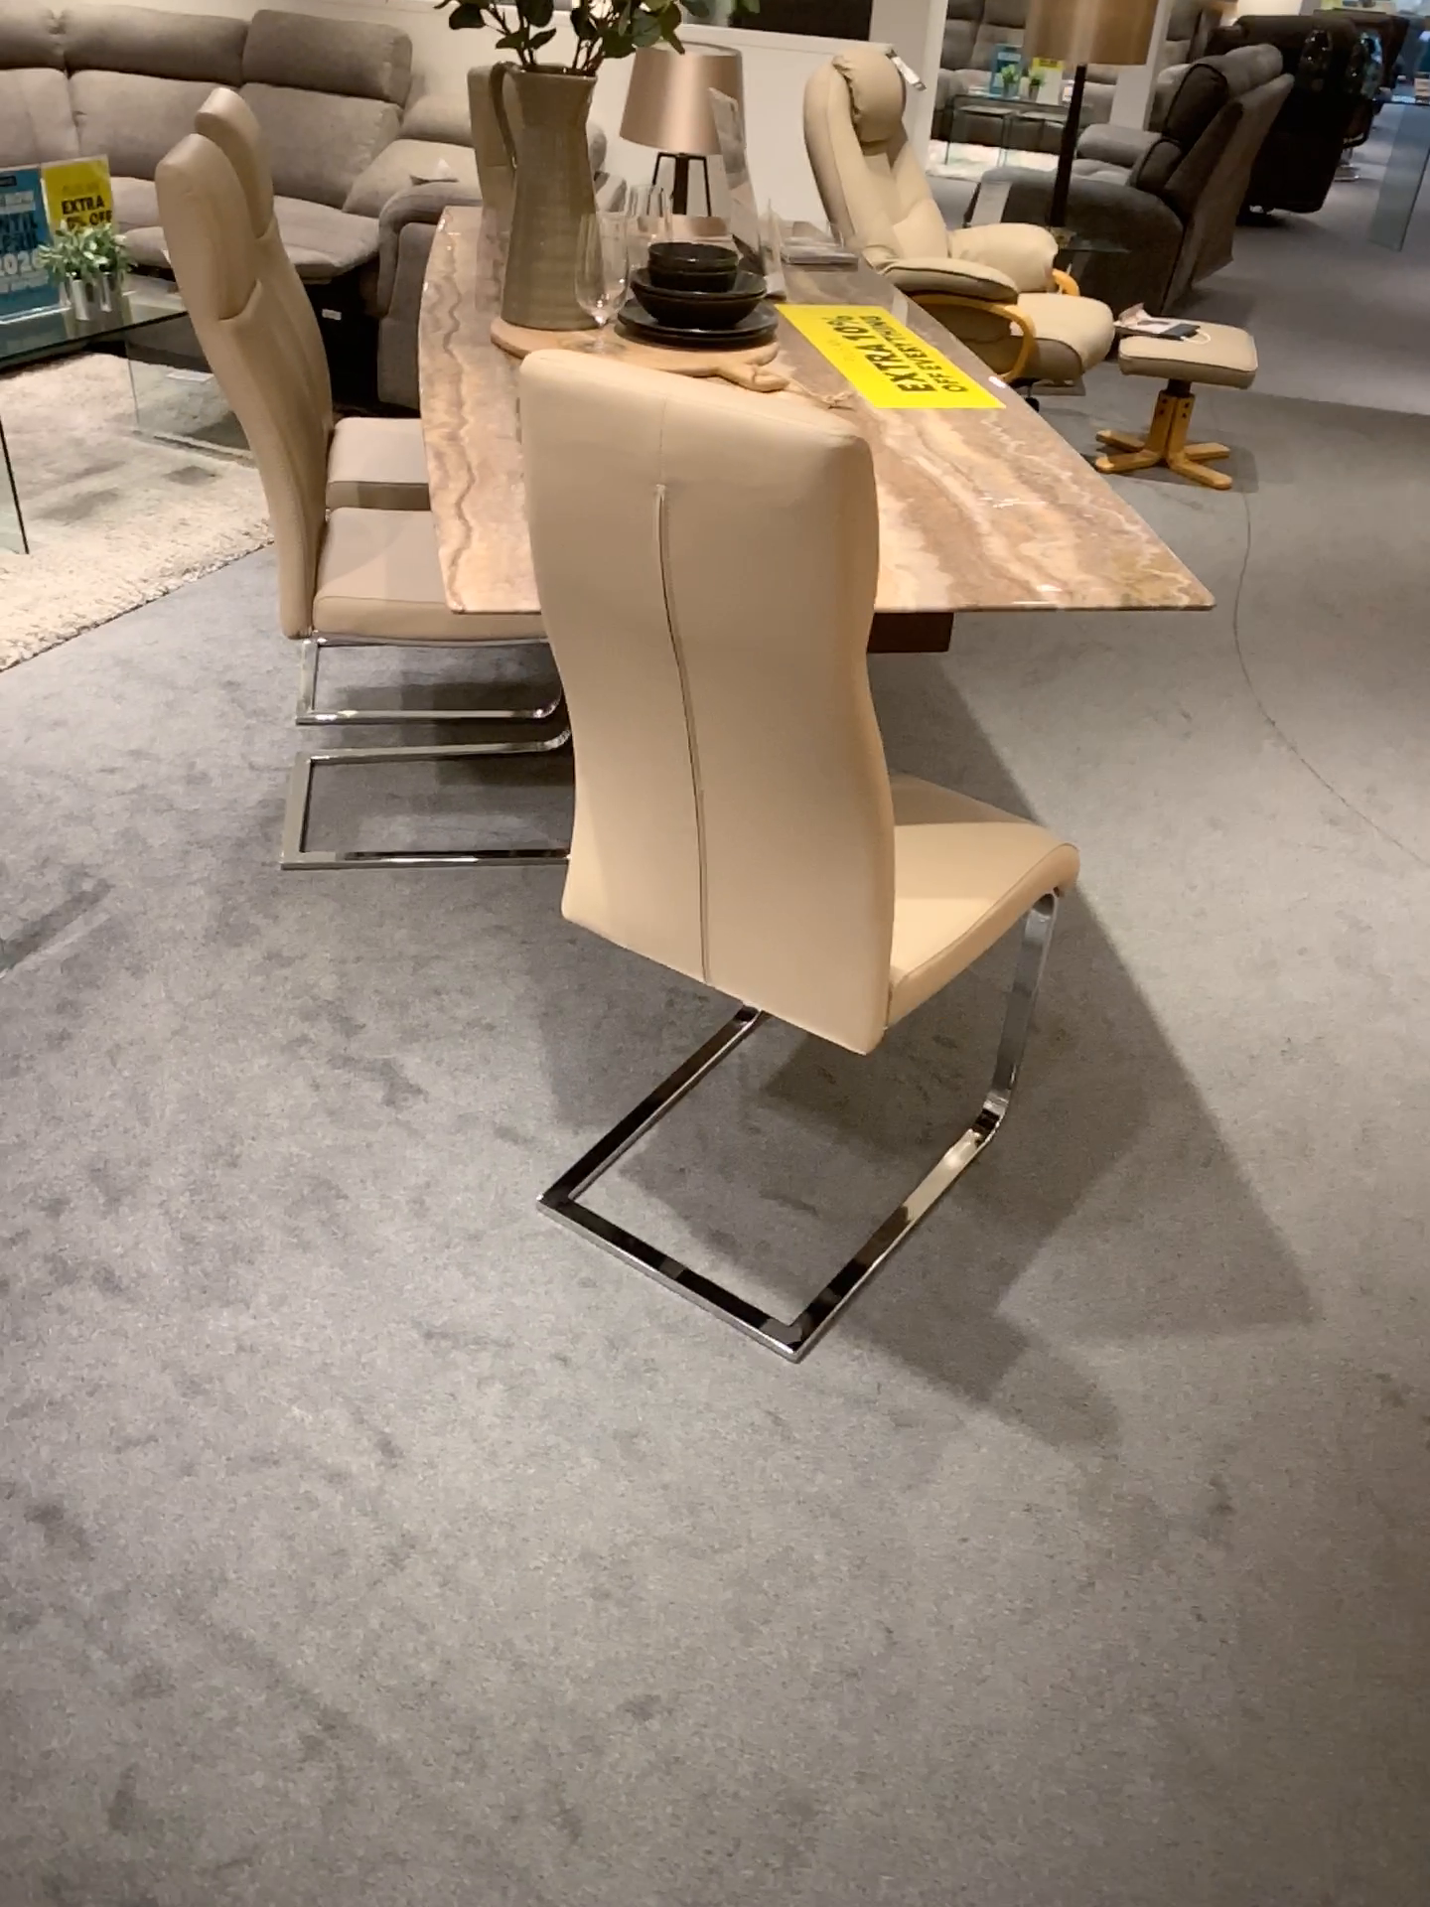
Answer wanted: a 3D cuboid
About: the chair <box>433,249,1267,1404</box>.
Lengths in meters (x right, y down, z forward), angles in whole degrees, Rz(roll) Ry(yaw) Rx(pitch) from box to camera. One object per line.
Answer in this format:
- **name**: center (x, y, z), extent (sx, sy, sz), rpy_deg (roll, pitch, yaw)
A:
- **chair**: center (0.117, -0.156, 1.576), extent (0.529, 0.981, 0.587), rpy_deg (24, 39, 26)
